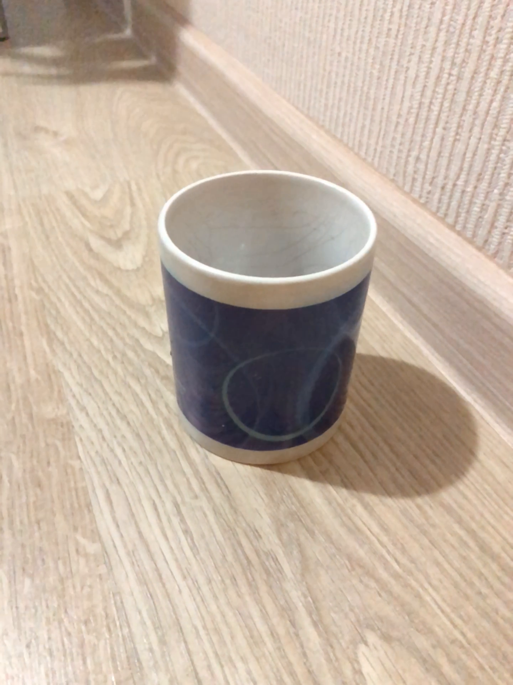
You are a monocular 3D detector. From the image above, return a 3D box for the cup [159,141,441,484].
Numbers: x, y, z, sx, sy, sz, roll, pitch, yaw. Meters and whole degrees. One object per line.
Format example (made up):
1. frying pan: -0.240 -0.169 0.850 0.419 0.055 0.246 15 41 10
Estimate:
1. cup: 0.006 -0.020 0.264 0.093 0.099 0.123 -3 41 -7
